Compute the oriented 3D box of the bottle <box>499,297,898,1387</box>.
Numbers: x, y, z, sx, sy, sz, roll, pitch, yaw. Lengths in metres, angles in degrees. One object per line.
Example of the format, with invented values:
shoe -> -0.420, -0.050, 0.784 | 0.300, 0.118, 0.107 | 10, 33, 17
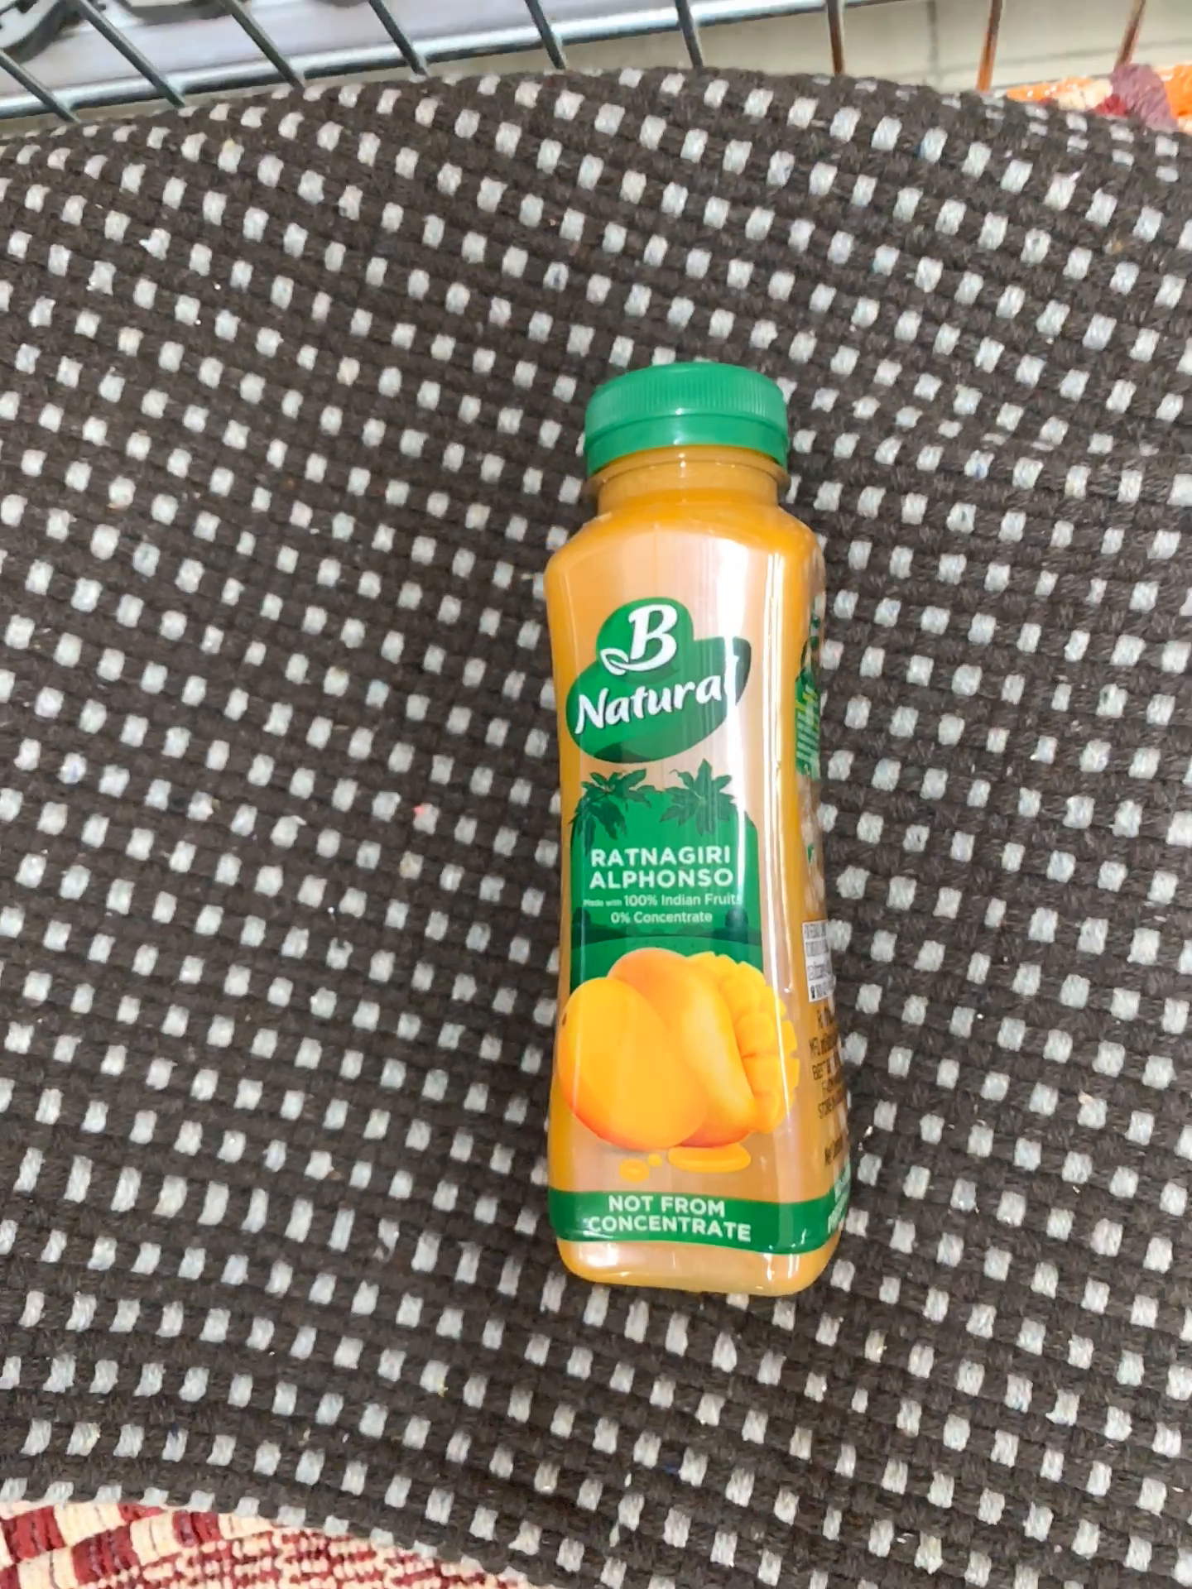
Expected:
bottle -> 0.020, 0.007, 0.214 | 0.060, 0.050, 0.160 | 0, 88, 14
